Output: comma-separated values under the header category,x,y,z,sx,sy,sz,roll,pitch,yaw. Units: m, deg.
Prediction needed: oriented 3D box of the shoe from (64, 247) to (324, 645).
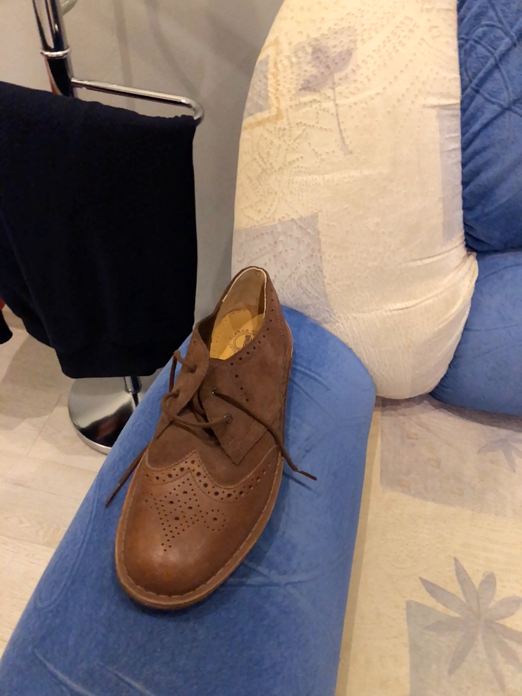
category,x,y,z,sx,sy,sz,roll,pitch,yaw
shoe,-0.031,0.055,0.479,0.113,0.089,0.315,10,48,8
